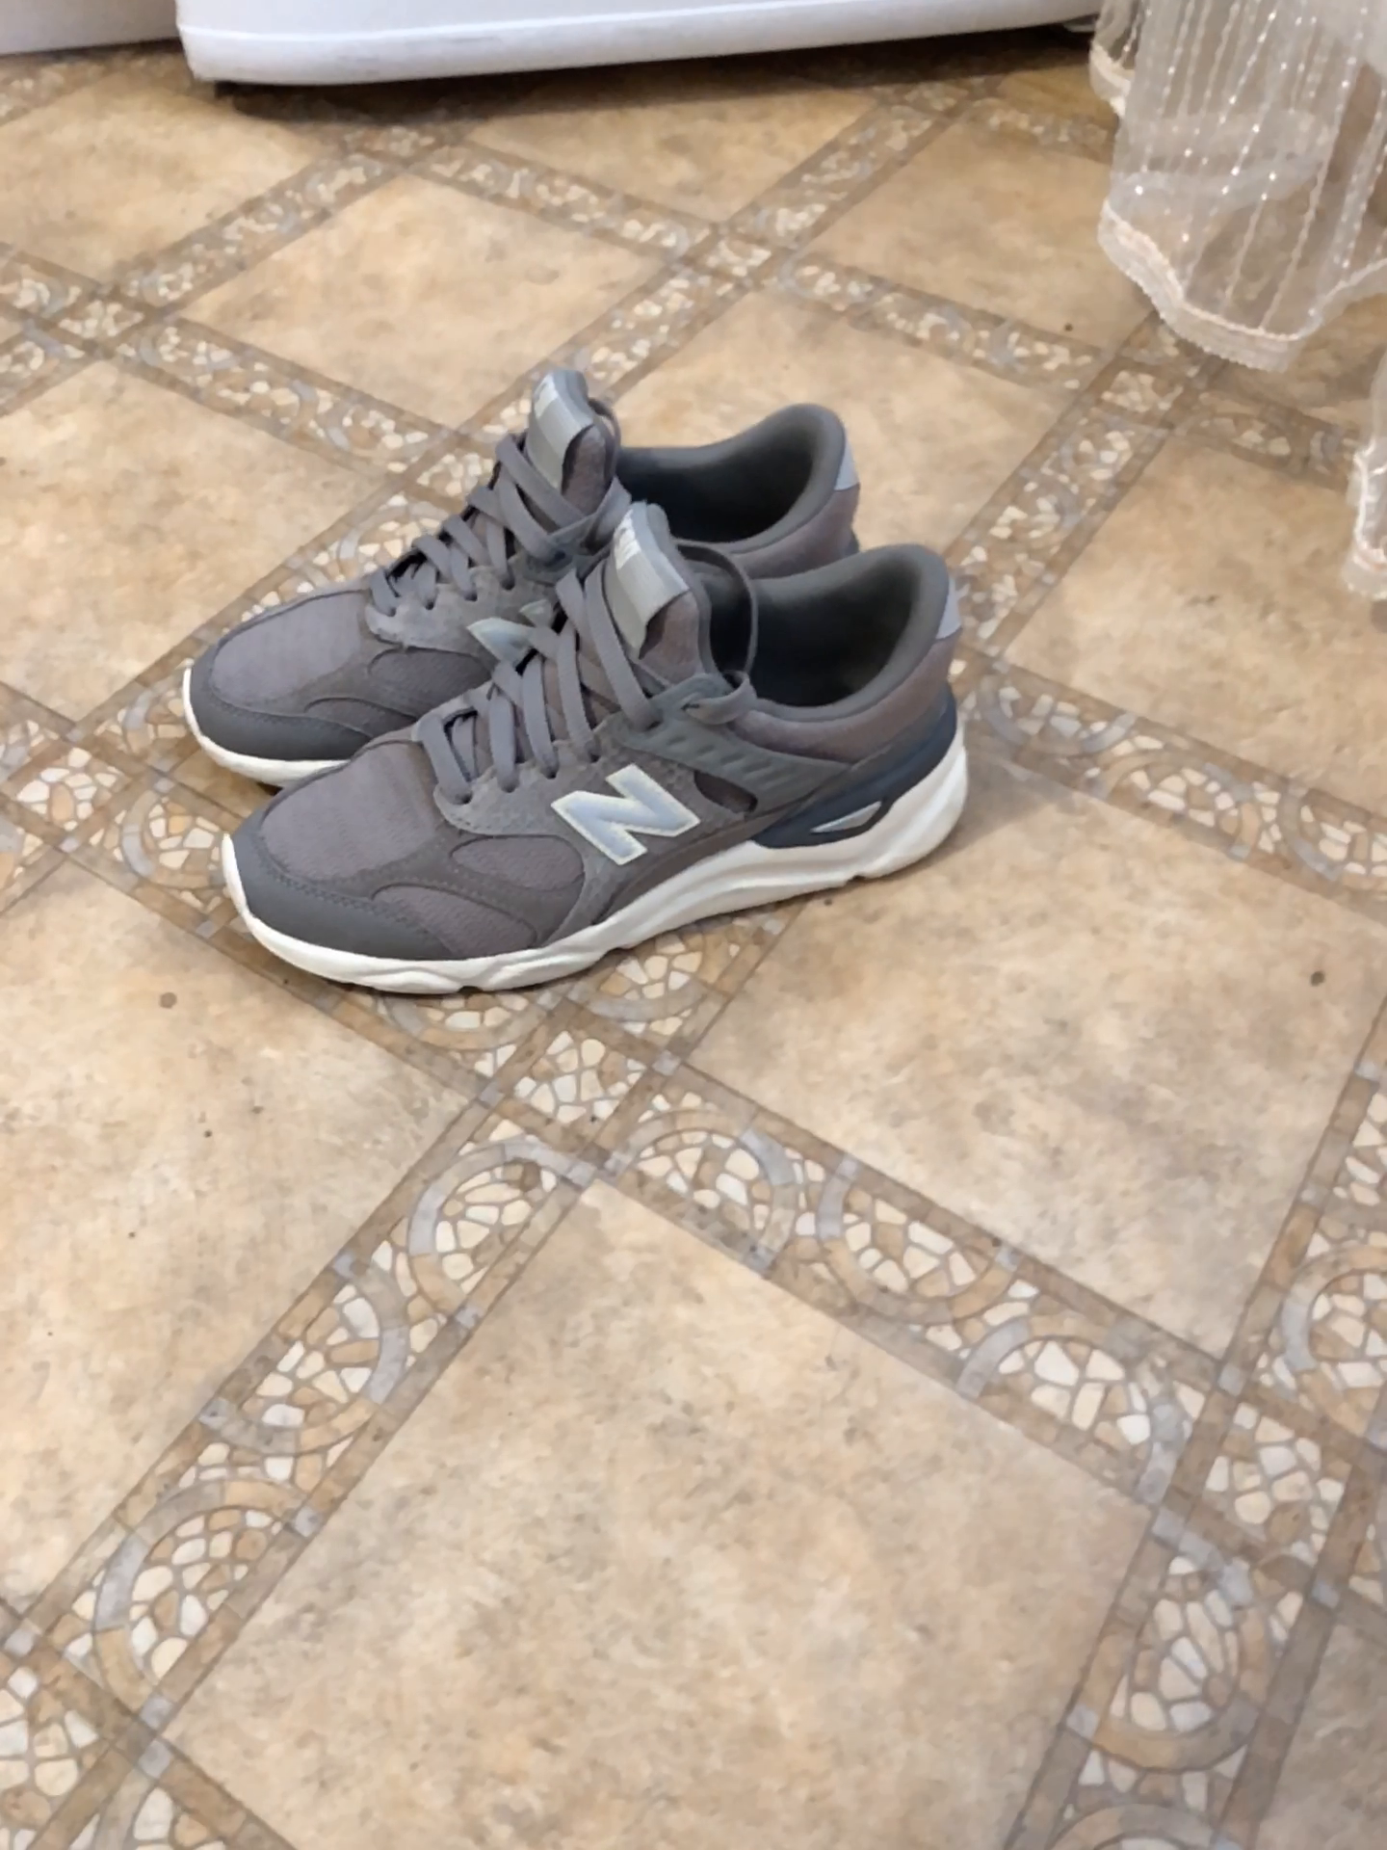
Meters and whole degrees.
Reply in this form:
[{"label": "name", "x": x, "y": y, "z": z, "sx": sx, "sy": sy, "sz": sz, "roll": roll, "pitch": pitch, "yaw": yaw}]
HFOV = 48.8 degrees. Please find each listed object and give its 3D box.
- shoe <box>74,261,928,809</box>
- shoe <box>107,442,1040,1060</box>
[{"label": "shoe", "x": -0.067, "y": -0.142, "z": 0.555, "sx": 0.270, "sy": 0.119, "sz": 0.101, "roll": -11, "pitch": 52, "yaw": -9}, {"label": "shoe", "x": -0.039, "y": -0.061, "z": 0.516, "sx": 0.270, "sy": 0.119, "sz": 0.101, "roll": -13, "pitch": 53, "yaw": -11}]
